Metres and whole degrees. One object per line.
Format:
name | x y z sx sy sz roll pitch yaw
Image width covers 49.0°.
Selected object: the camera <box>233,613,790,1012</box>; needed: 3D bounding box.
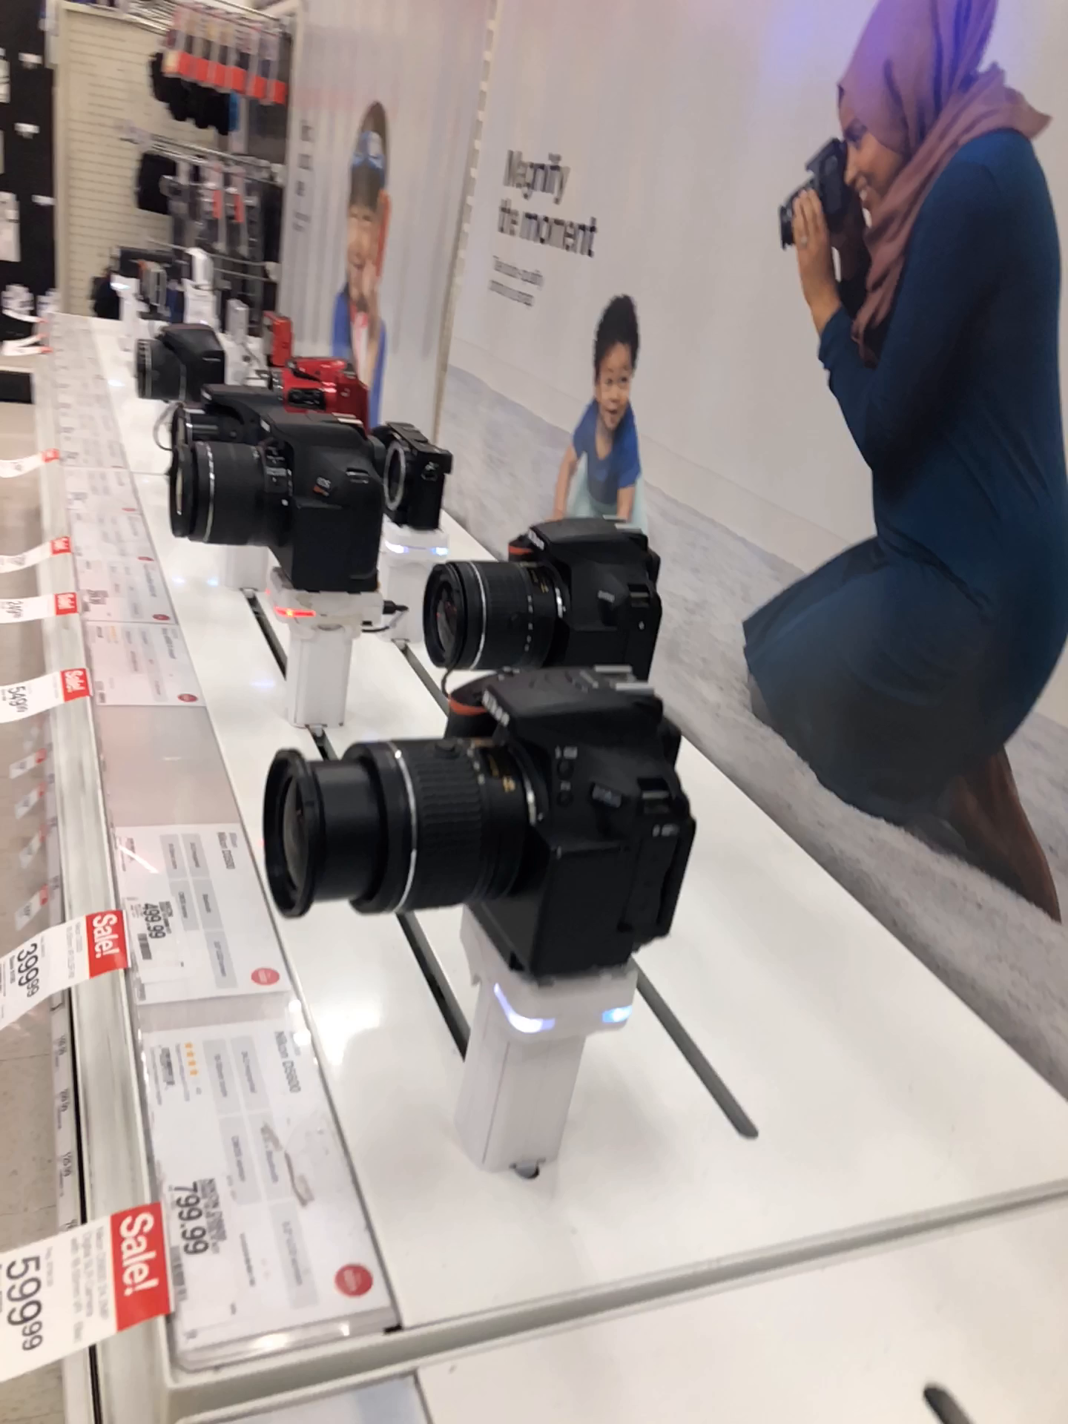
camera | -0.017 0.028 0.457 0.170 0.090 0.130 -2 26 -25
